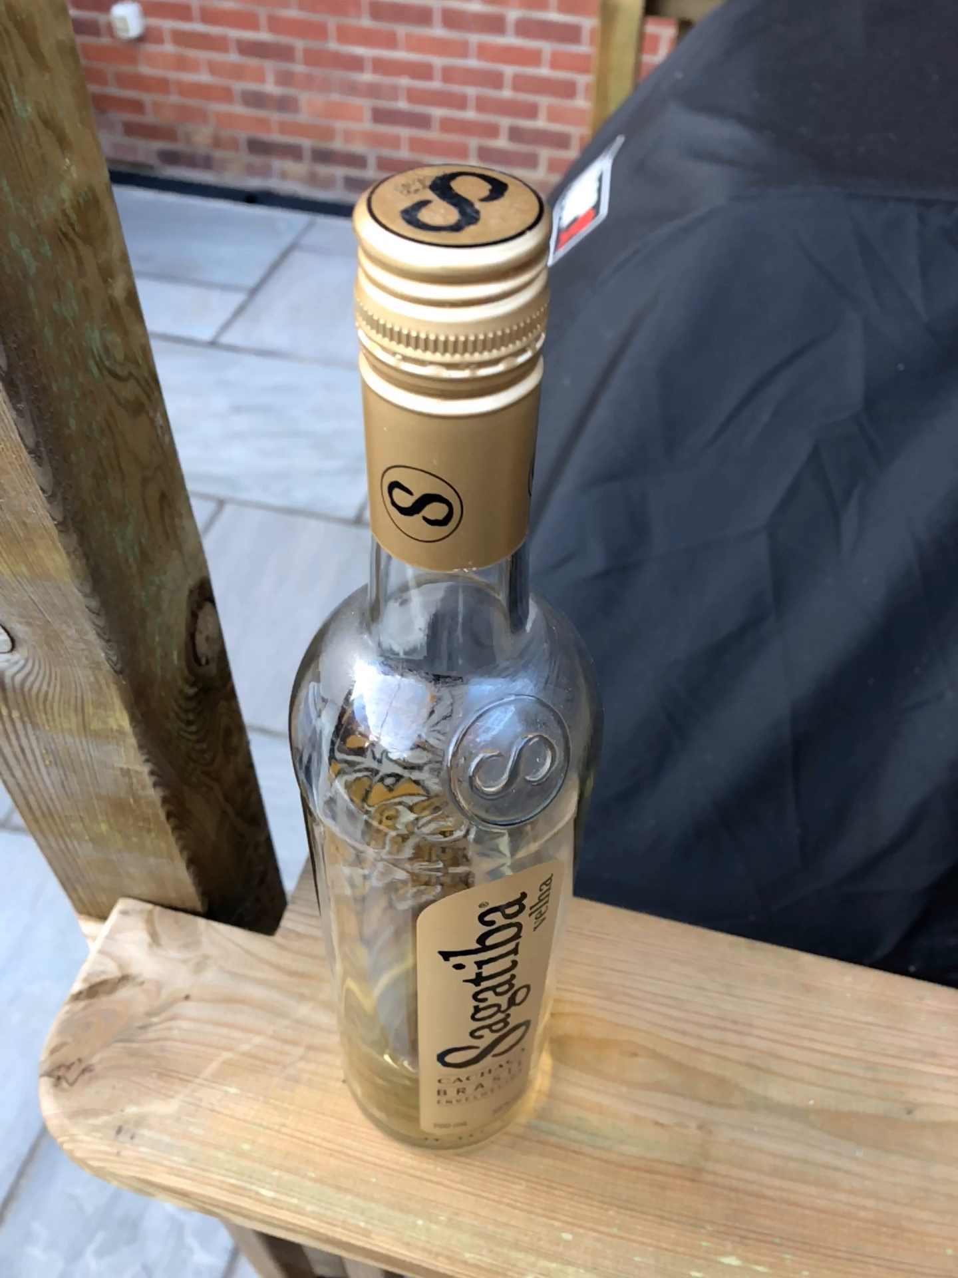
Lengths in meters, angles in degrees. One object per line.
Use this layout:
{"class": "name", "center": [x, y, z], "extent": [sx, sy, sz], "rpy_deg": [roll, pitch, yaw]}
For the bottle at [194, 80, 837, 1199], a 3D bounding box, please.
{"class": "bottle", "center": [-0.003, 0.045, 0.275], "extent": [0.080, 0.328, 0.060], "rpy_deg": [-12, 47, -14]}
